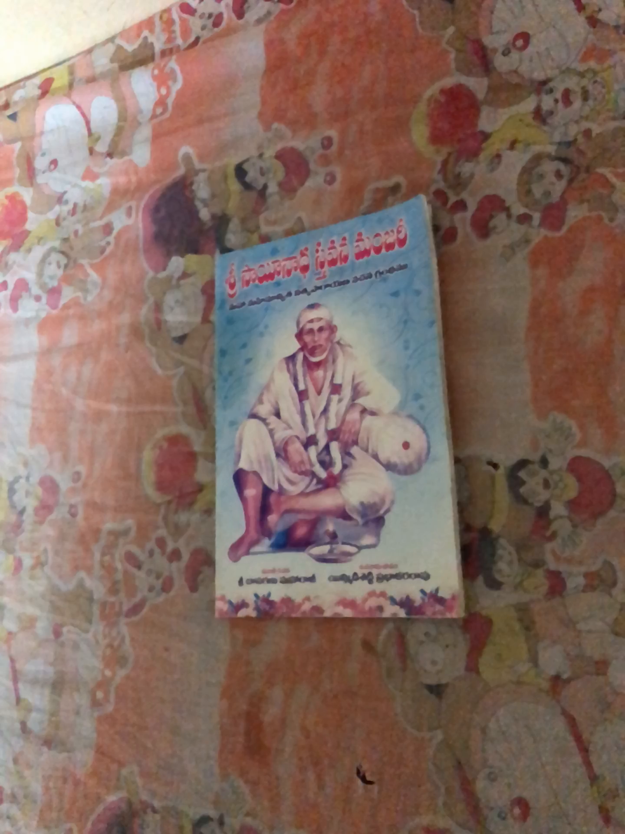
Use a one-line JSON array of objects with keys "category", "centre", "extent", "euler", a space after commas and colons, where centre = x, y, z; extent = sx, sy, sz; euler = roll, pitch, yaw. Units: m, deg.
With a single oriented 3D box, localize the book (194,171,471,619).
[{"category": "book", "centre": [0.003, -0.007, 0.373], "extent": [0.140, 0.020, 0.220], "euler": [-7, 79, 24]}]
